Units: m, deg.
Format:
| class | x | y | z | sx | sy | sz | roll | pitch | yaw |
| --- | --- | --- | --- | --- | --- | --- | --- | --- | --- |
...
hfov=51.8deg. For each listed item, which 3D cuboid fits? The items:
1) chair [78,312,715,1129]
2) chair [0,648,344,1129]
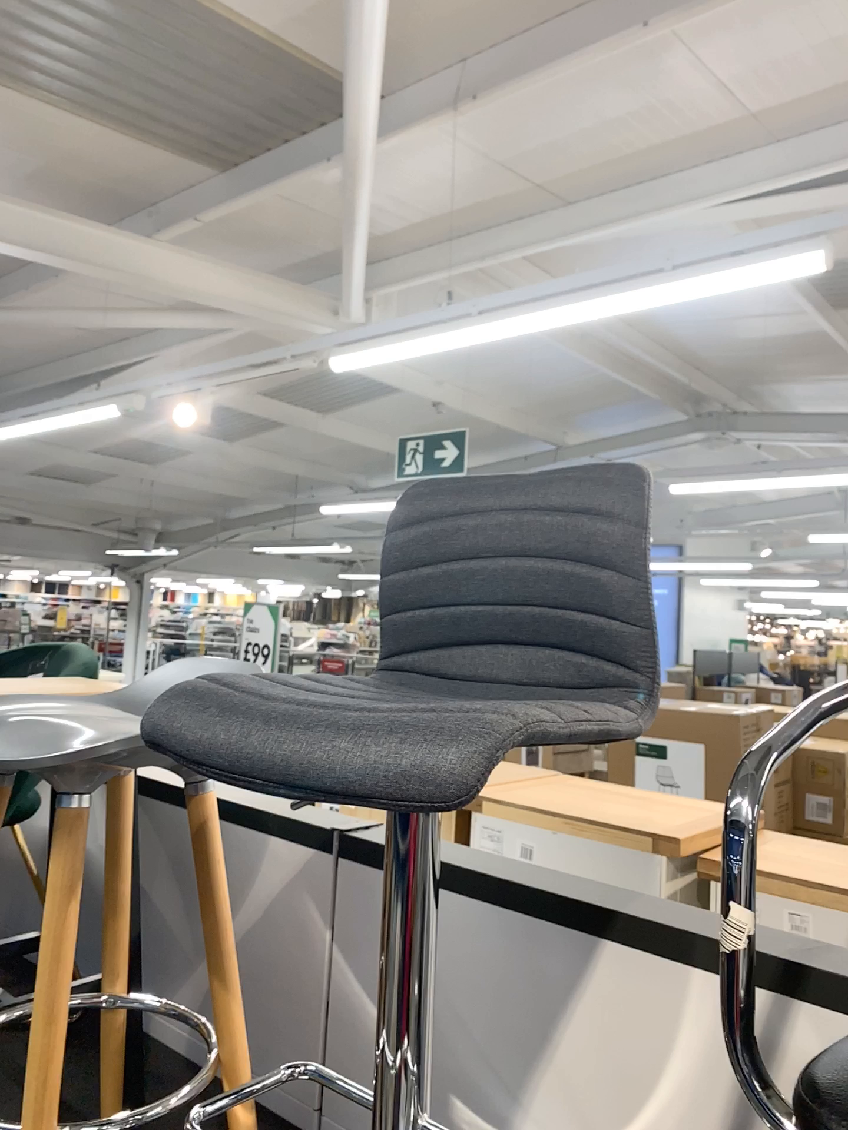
| class | x | y | z | sx | sy | sz | roll | pitch | yaw |
| --- | --- | --- | --- | --- | --- | --- | --- | --- | --- |
| chair | 0.008 | 0.342 | 0.930 | 0.445 | 1.033 | 0.451 | -2 | -7 | 36 |
| chair | -0.445 | 0.498 | 1.168 | 0.445 | 0.742 | 0.451 | -2 | -7 | 36 |
